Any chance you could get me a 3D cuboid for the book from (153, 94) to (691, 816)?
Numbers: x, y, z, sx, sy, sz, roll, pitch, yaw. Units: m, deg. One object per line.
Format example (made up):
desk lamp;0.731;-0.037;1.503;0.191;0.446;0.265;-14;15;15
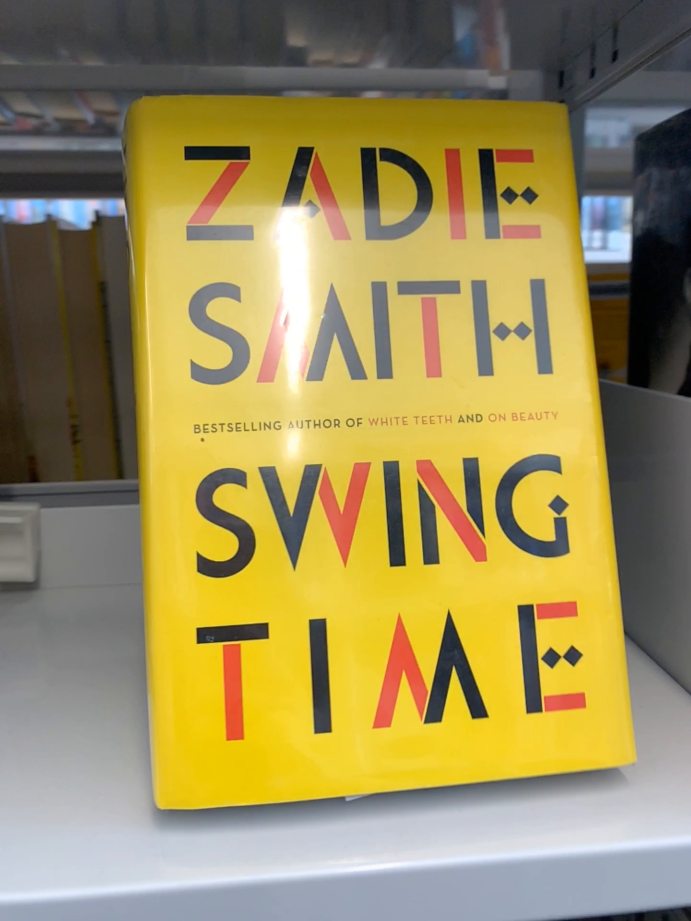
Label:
book;0.021;-0.009;0.270;0.167;0.233;0.060;-3;-7;-8
